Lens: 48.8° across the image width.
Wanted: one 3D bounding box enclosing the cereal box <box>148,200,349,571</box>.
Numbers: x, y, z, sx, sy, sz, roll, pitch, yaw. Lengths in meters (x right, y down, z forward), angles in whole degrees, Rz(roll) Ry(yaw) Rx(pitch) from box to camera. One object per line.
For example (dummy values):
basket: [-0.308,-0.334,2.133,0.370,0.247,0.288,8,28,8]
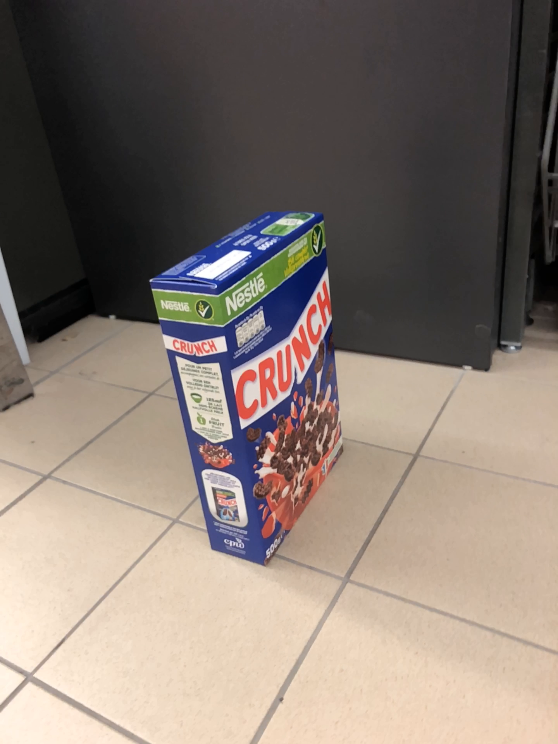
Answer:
cereal box: [-0.008,0.008,0.587,0.070,0.288,0.191,10,34,27]
